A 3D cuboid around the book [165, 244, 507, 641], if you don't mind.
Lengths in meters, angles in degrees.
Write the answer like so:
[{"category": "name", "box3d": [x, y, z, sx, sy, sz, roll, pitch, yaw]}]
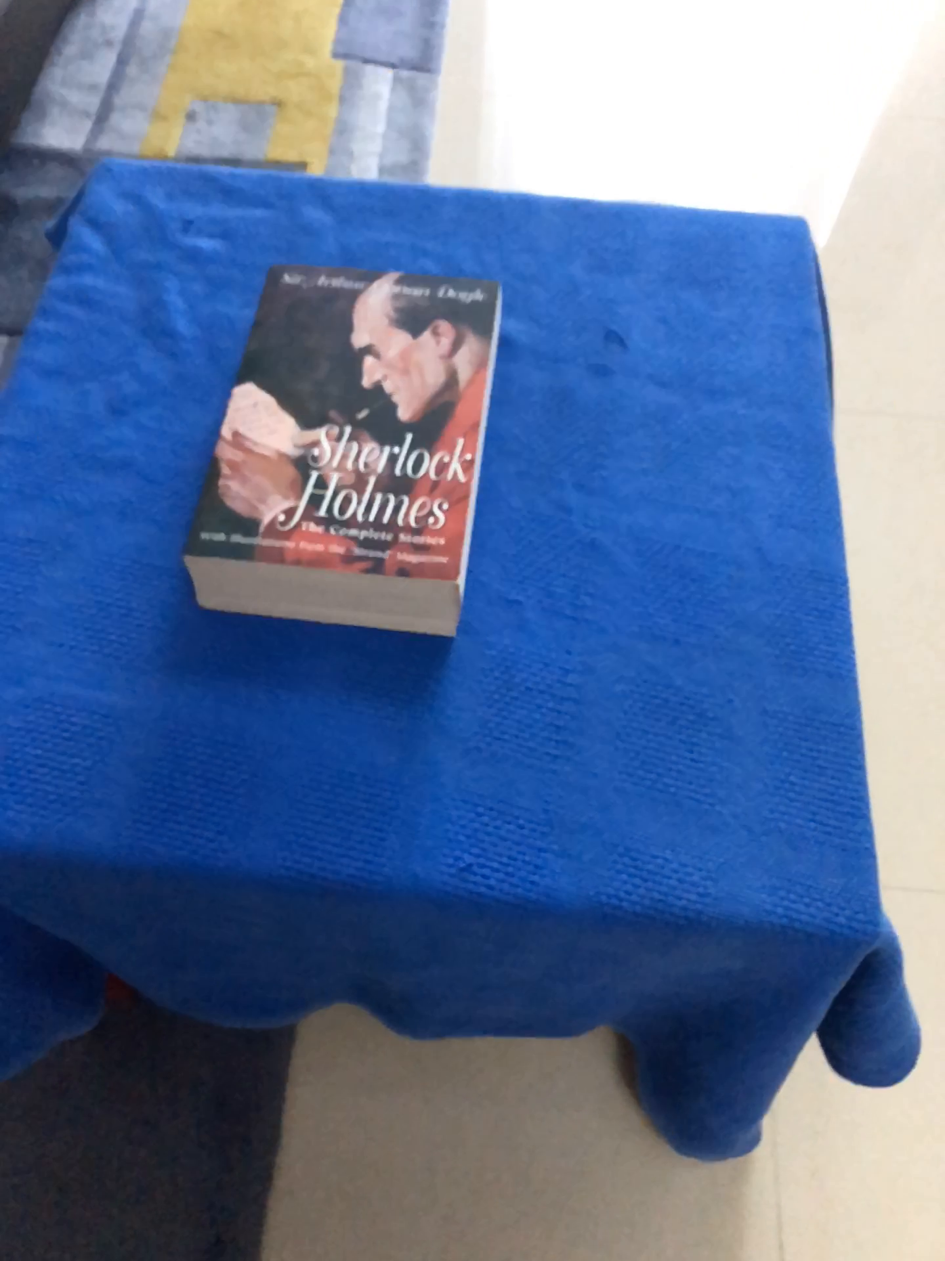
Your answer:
[{"category": "book", "box3d": [-0.072, -0.123, 0.651, 0.160, 0.070, 0.241, 6, 59, 3]}]
